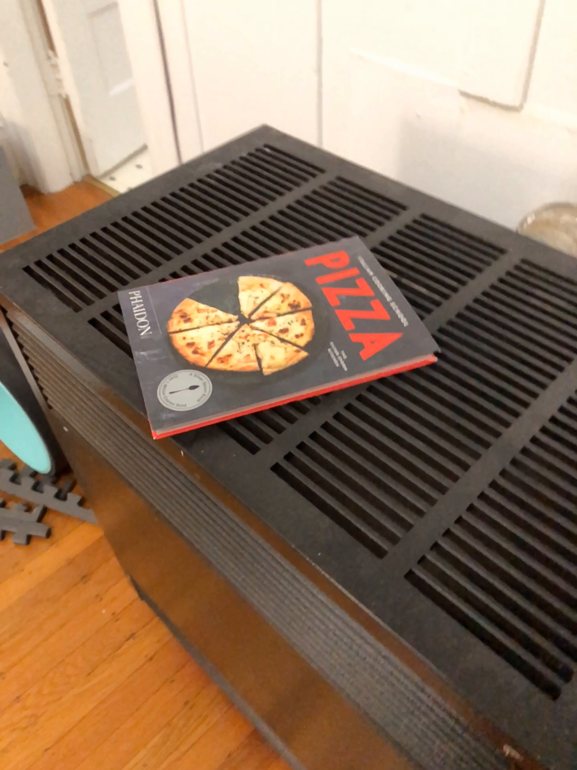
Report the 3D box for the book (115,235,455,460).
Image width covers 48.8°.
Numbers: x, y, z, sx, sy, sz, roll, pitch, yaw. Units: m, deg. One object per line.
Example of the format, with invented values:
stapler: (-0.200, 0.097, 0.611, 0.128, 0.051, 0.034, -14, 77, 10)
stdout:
book: (-0.012, -0.044, 0.522, 0.230, 0.020, 0.181, -15, 47, -11)
